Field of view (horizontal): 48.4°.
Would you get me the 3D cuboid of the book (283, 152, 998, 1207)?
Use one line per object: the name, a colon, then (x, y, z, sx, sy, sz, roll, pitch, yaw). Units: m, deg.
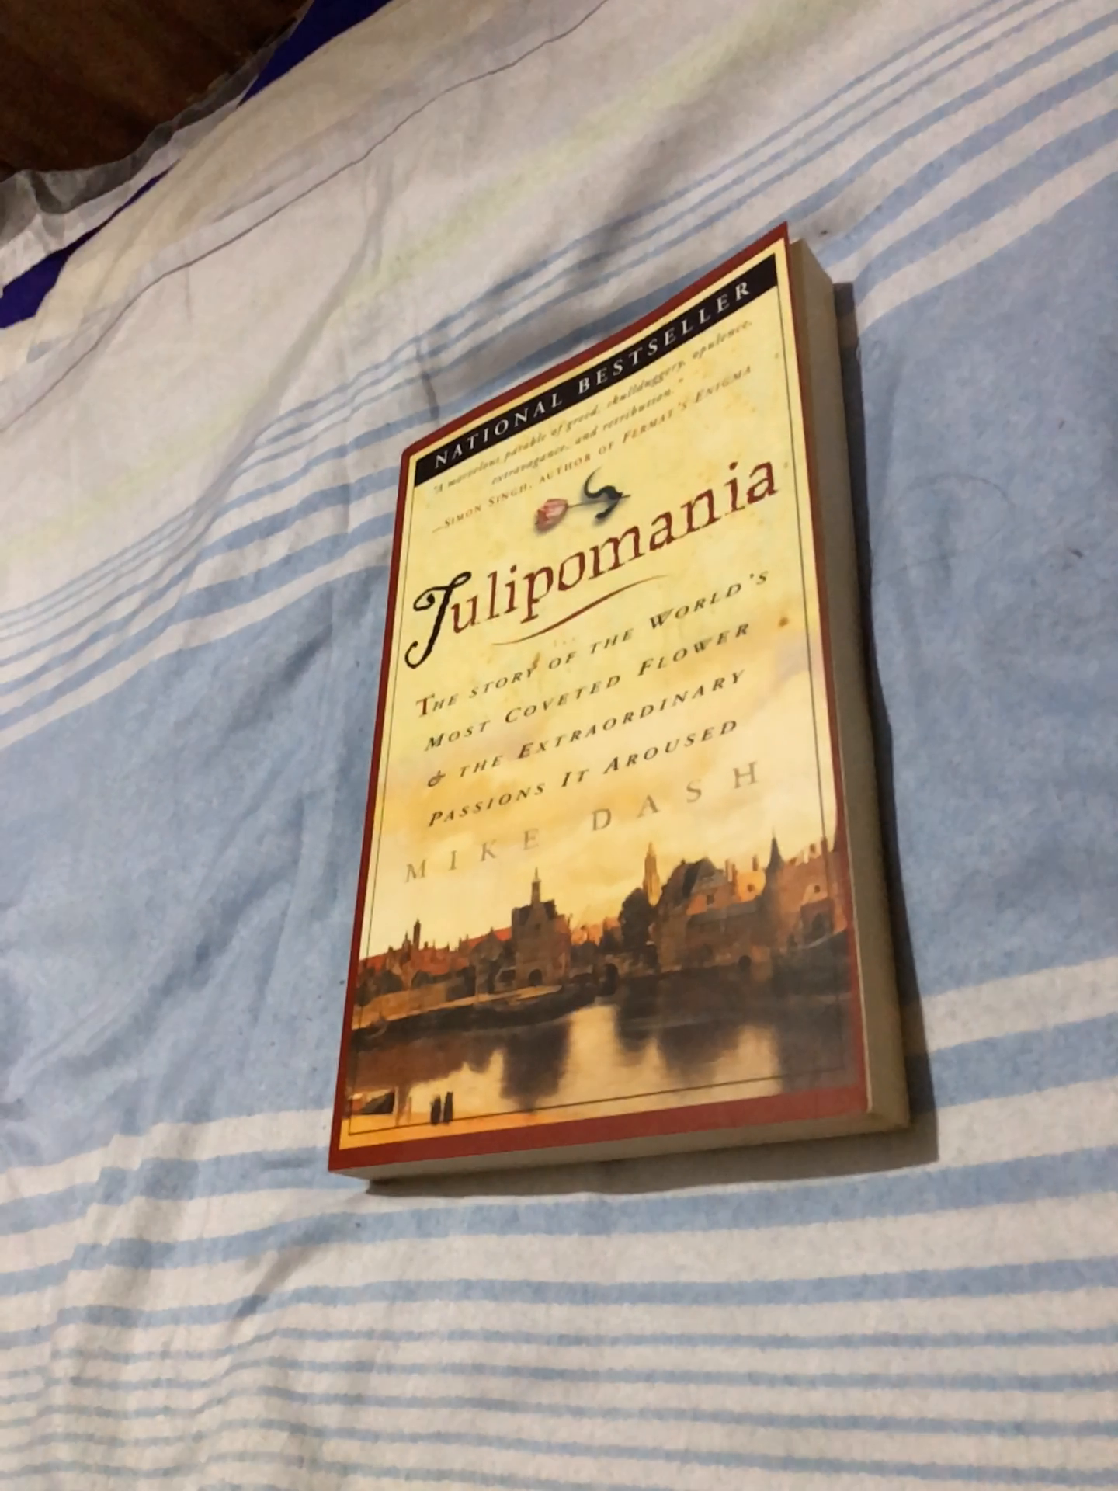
book: (0.015, -0.016, 0.306, 0.140, 0.050, 0.230, -19, 55, 34)
